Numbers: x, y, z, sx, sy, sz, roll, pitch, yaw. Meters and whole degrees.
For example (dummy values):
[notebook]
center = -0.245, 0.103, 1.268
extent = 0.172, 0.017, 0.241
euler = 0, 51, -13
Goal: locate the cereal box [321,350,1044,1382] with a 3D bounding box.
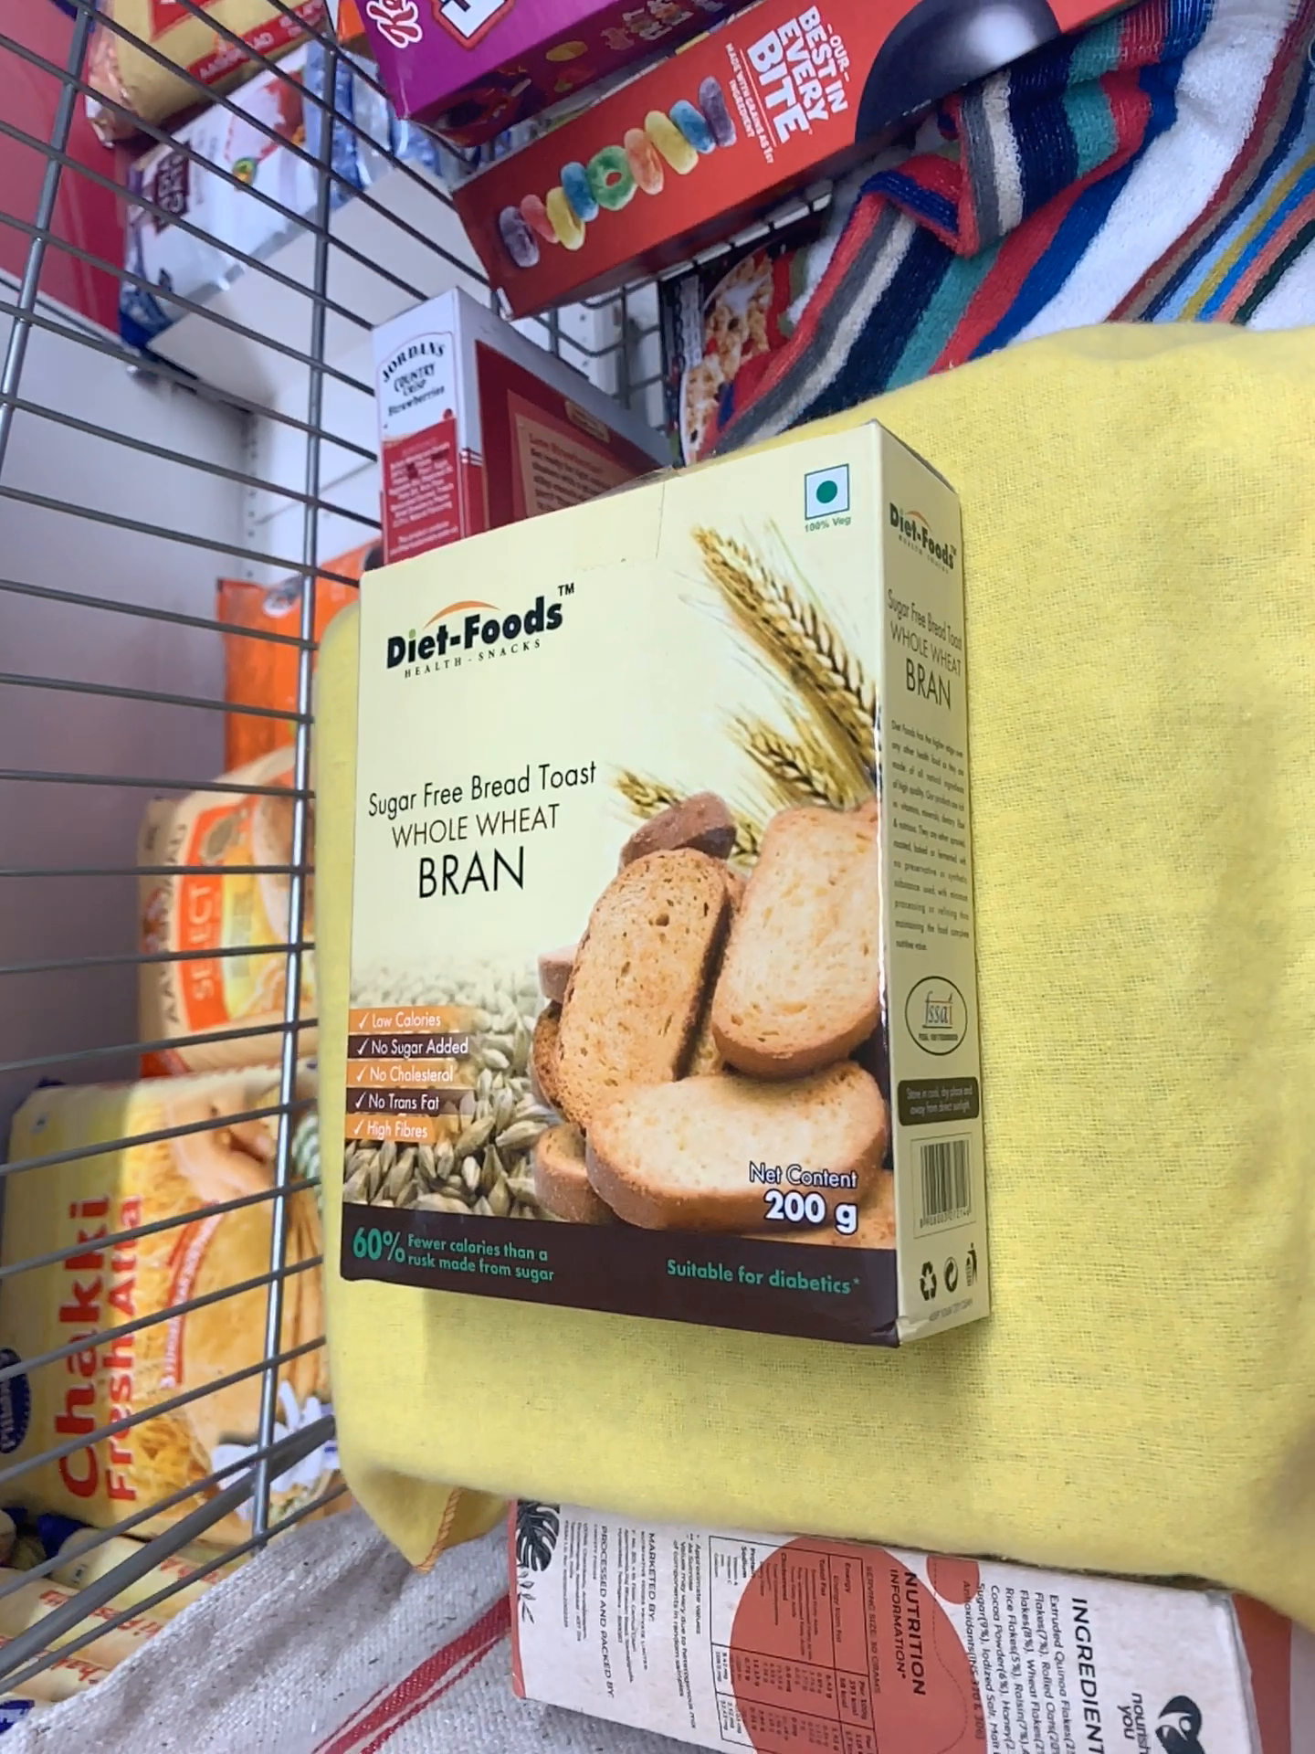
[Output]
[cereal box]
center = 0.000, 0.002, 0.281
extent = 0.141, 0.050, 0.170
euler = -5, 80, 35
